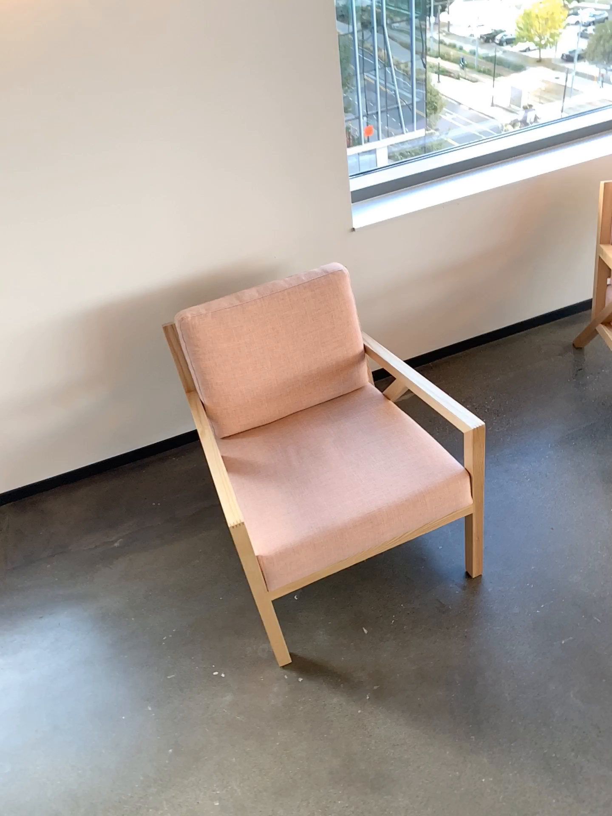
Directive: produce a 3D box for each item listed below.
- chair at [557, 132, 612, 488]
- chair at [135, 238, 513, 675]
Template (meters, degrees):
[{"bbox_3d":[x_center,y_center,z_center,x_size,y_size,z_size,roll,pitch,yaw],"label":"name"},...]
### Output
[{"bbox_3d":[1.371,-0.323,2.042,0.740,0.797,0.773,-5,40,5],"label":"chair"},{"bbox_3d":[0.031,0.115,1.848,0.740,0.797,0.774,-19,42,-10],"label":"chair"}]
